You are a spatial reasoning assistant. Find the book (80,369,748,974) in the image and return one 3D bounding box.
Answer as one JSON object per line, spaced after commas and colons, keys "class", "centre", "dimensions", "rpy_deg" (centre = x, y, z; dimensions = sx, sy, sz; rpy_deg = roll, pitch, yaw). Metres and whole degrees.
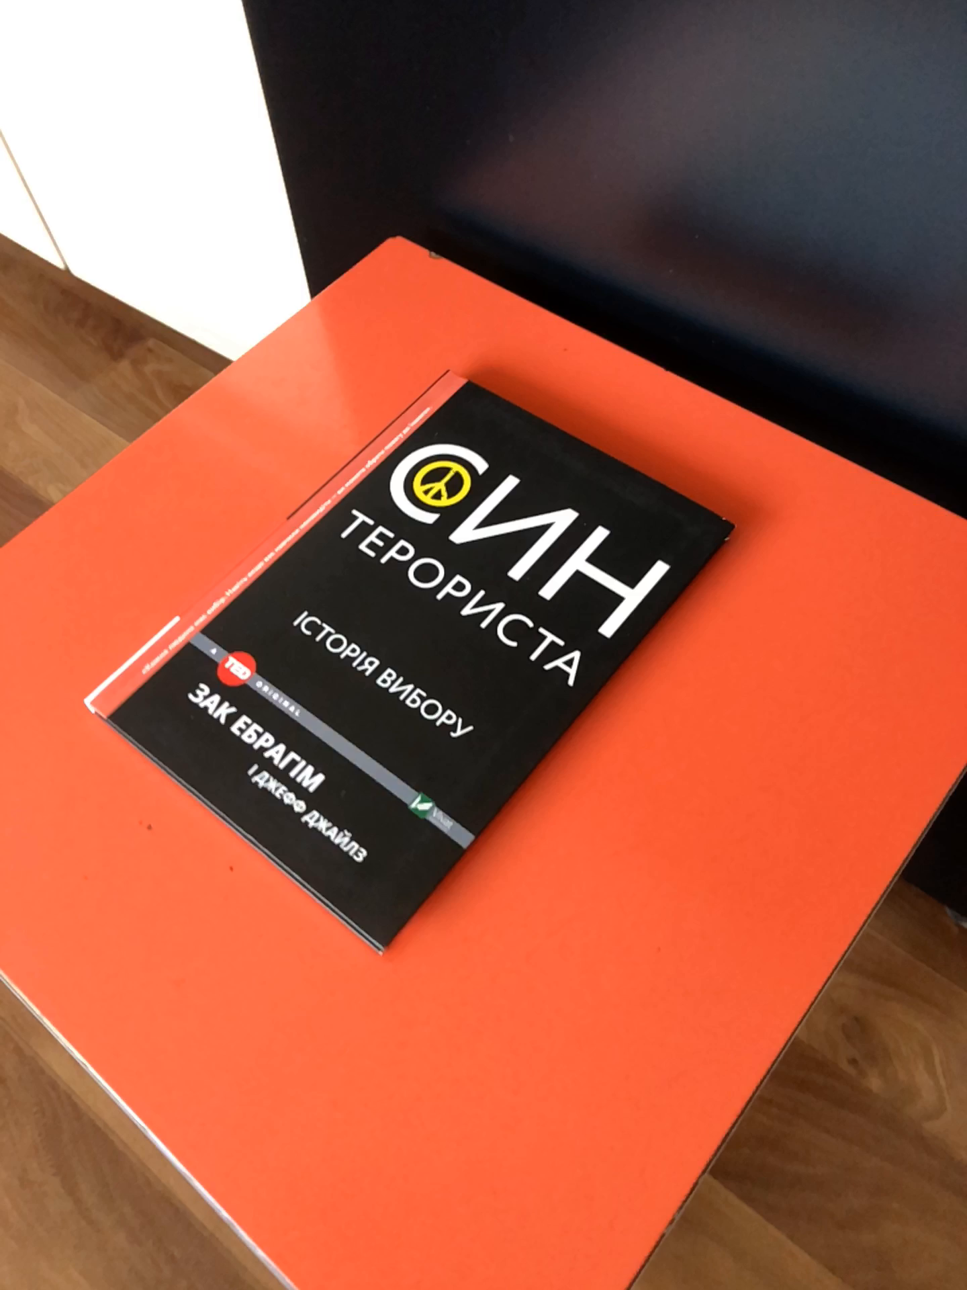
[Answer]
{"class": "book", "centre": [-0.021, -0.007, 0.382], "dimensions": [0.140, 0.016, 0.198], "rpy_deg": [34, 66, 23]}
